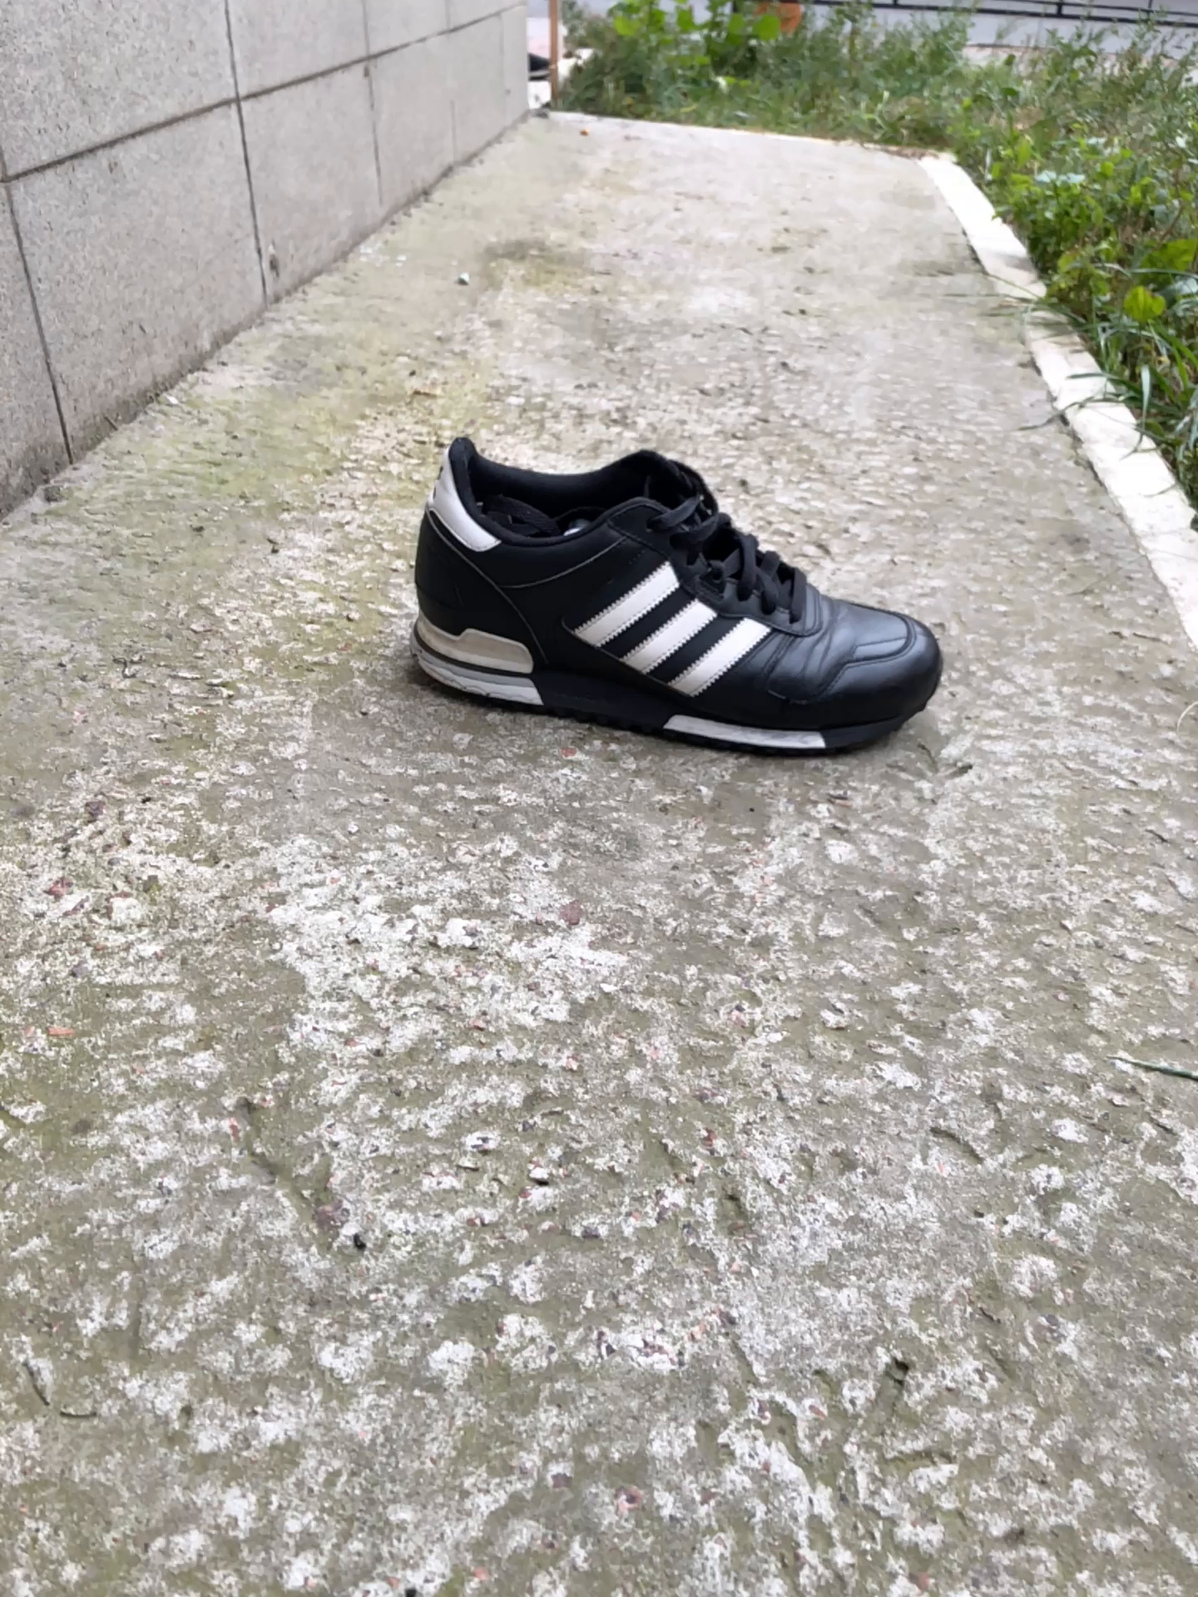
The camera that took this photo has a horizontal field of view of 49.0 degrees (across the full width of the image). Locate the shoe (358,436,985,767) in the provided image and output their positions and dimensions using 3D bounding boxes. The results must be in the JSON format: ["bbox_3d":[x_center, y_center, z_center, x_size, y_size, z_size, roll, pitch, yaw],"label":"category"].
[{"bbox_3d":[0.033,-0.101,0.662,0.280,0.119,0.101,3,34,3],"label":"shoe"}]
